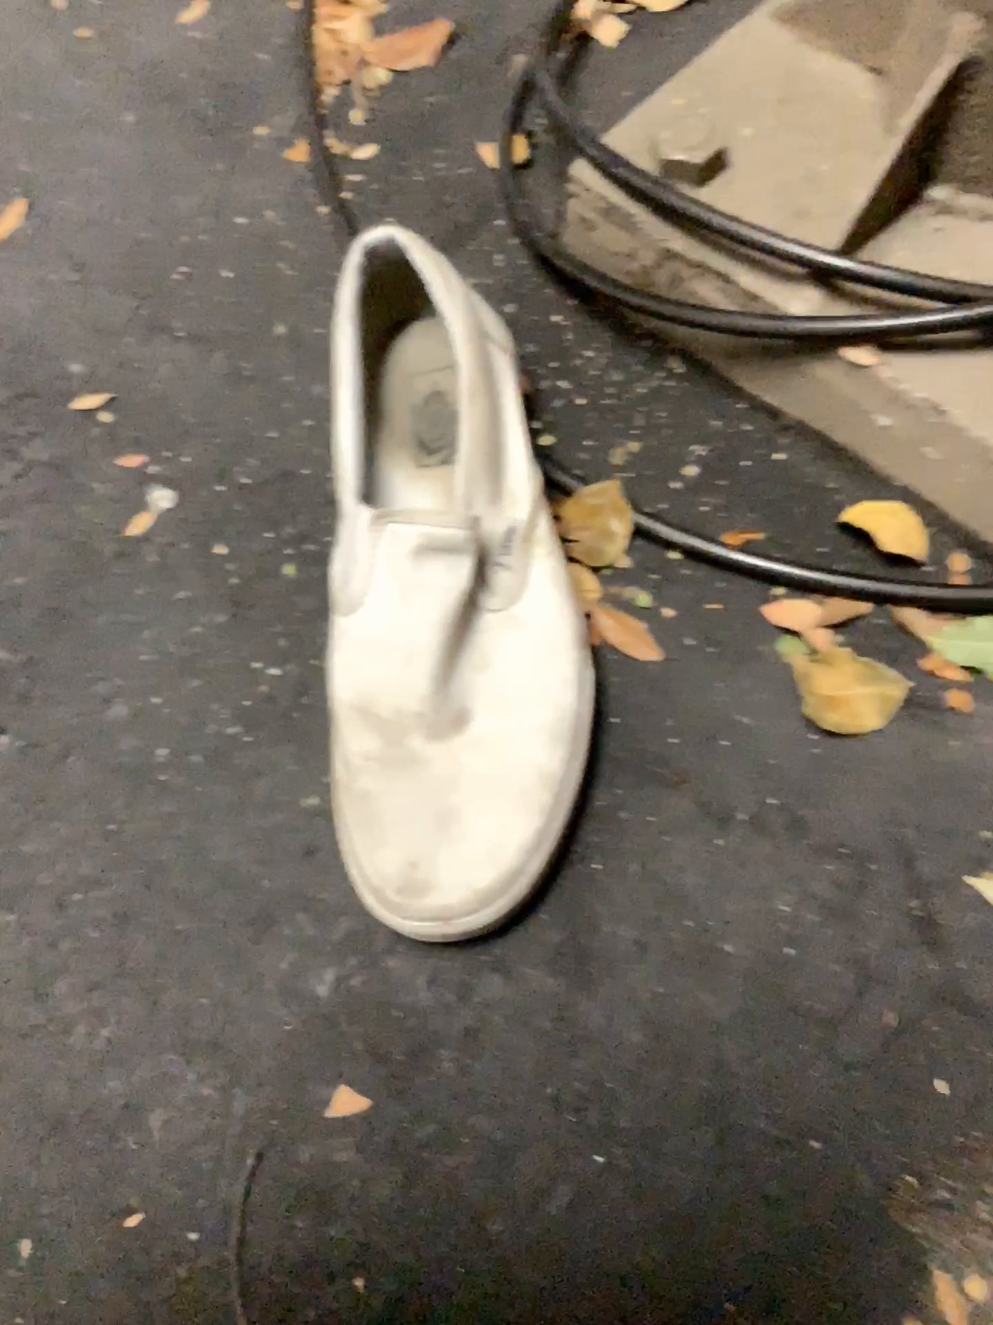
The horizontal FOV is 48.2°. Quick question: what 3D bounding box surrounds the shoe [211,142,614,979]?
[{"bbox_3d":[-0.016,-0.044,0.433,0.120,0.100,0.310,0,67,5],"label":"shoe"}]
